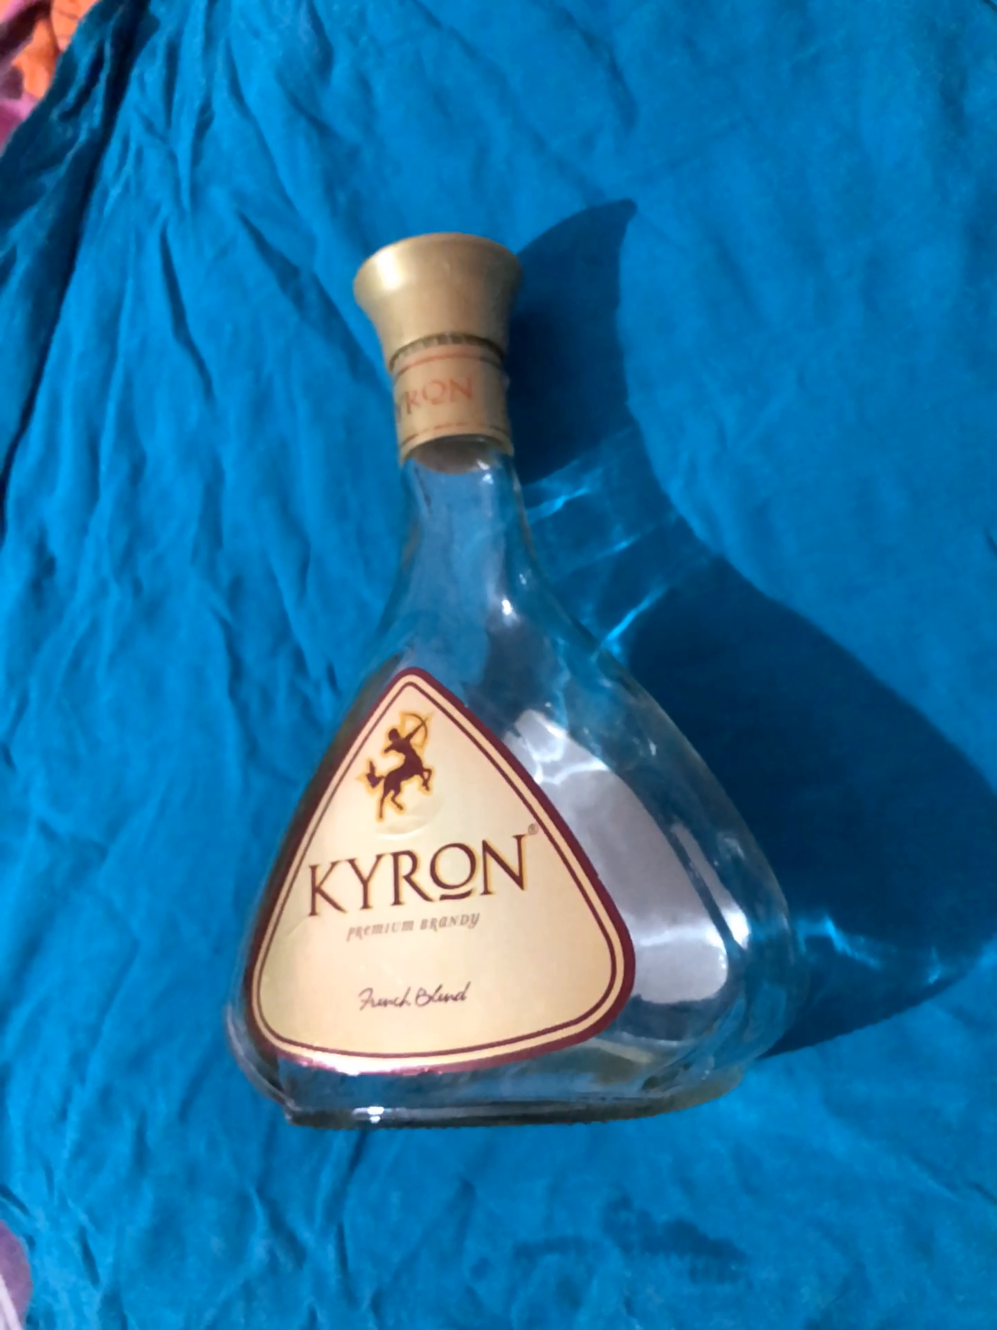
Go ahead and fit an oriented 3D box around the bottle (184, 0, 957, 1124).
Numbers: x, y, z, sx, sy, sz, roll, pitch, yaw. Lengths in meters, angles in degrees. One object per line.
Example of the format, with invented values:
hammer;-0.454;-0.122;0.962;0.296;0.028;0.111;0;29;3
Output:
bottle;0.010;-0.016;0.293;0.150;0.080;0.240;-14;77;30
